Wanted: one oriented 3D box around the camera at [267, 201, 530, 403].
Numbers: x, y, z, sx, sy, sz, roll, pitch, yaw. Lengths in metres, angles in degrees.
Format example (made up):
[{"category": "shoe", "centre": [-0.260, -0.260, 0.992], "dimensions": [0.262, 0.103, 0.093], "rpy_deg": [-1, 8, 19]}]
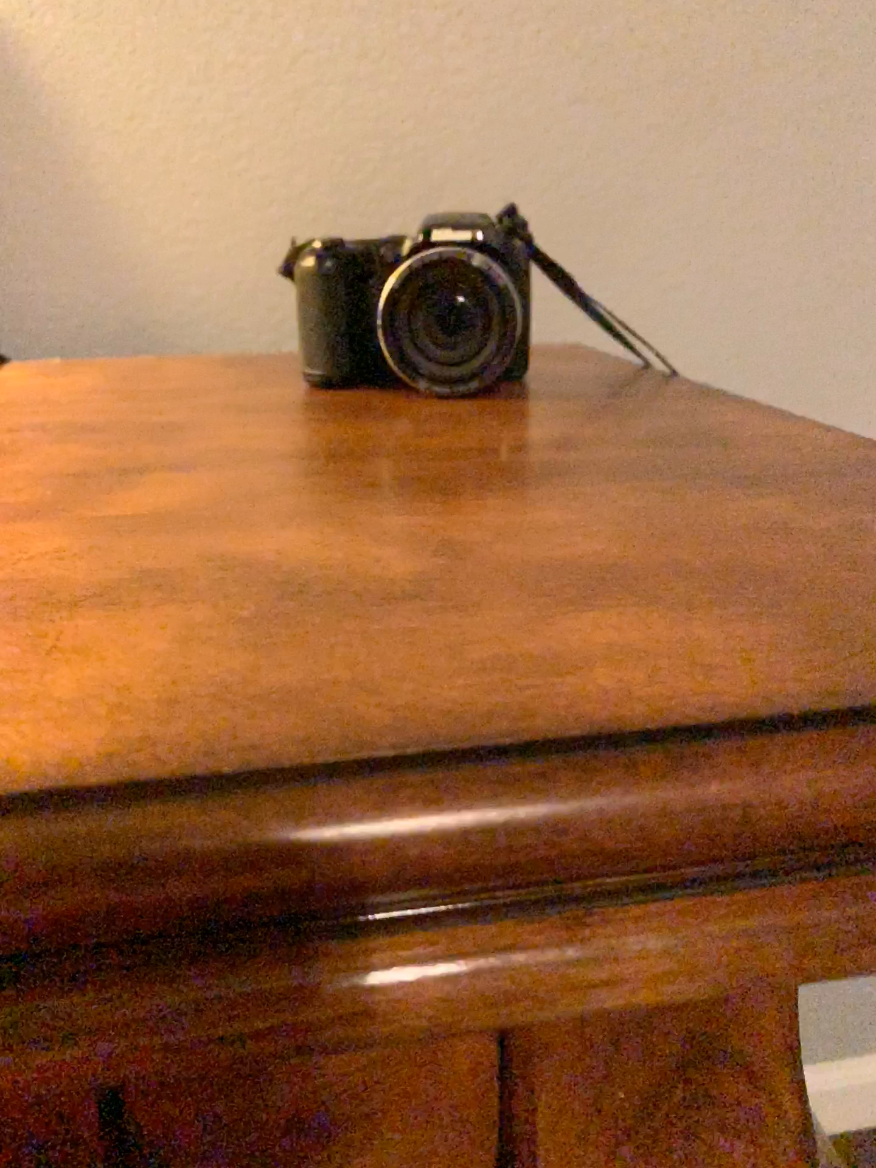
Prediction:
[{"category": "camera", "centre": [-0.011, -0.140, 0.453], "dimensions": [0.110, 0.081, 0.123], "rpy_deg": [1, 19, 6]}]
